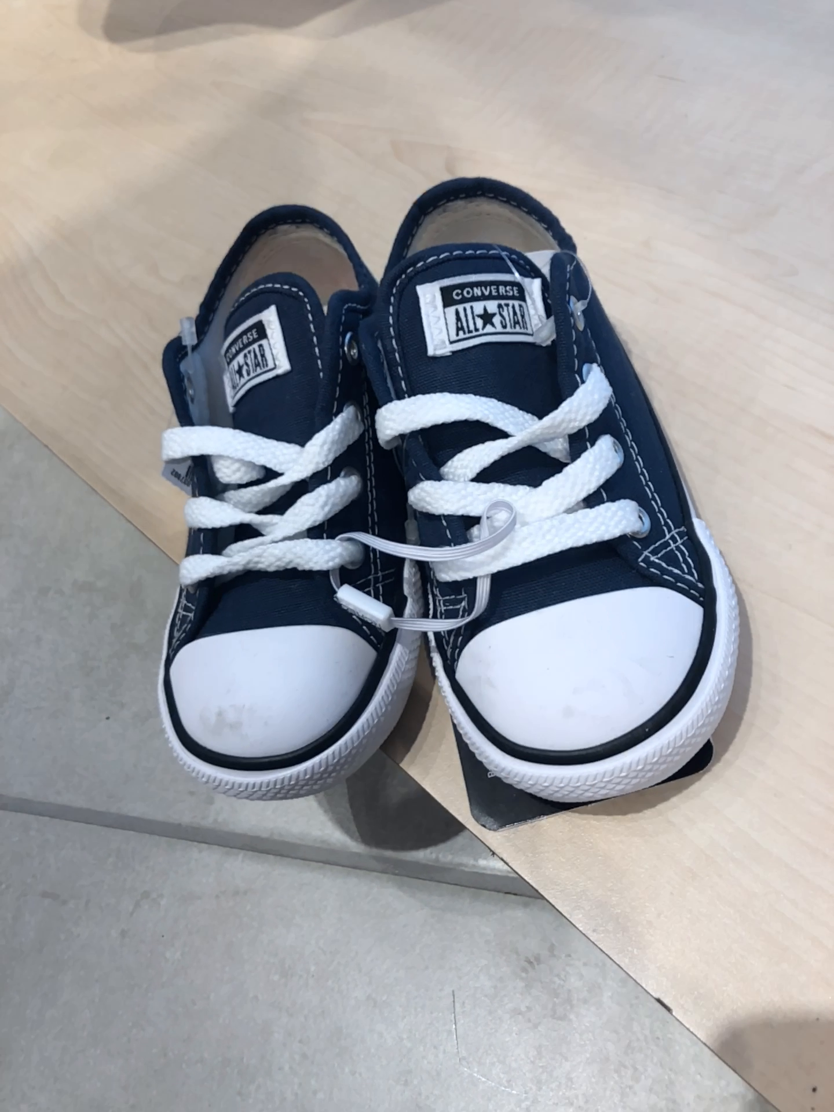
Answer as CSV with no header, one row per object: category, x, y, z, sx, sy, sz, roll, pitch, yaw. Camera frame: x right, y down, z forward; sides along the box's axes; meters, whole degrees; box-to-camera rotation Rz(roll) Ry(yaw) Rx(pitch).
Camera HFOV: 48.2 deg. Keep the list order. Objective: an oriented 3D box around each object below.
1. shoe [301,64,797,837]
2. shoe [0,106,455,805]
shoe,0.024,-0.030,0.229,0.080,0.060,0.171,-14,60,12
shoe,-0.040,-0.027,0.246,0.080,0.060,0.171,-5,62,17
